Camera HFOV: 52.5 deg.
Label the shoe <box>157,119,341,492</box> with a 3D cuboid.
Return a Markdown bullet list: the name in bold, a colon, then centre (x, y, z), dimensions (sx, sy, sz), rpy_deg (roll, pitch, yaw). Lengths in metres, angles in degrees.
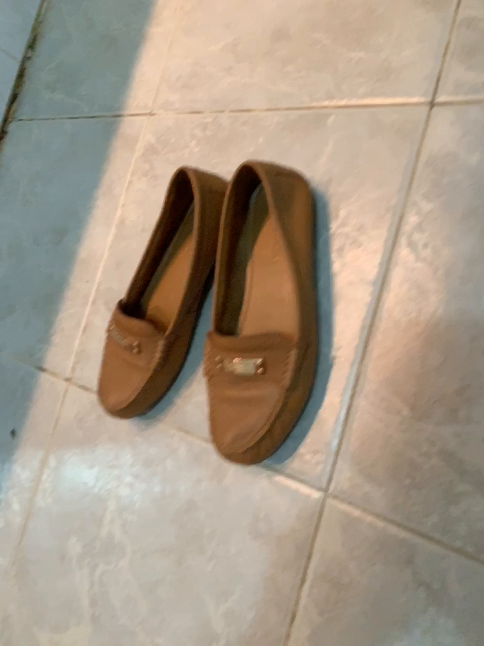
- **shoe**: centre (0.010, -0.012, 0.365), dimensions (0.085, 0.071, 0.242), rpy_deg (2, 80, 33)

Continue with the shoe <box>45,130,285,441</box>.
- **shoe**: centre (-0.067, -0.027, 0.421), dimensions (0.083, 0.071, 0.243), rpy_deg (31, 97, 34)
